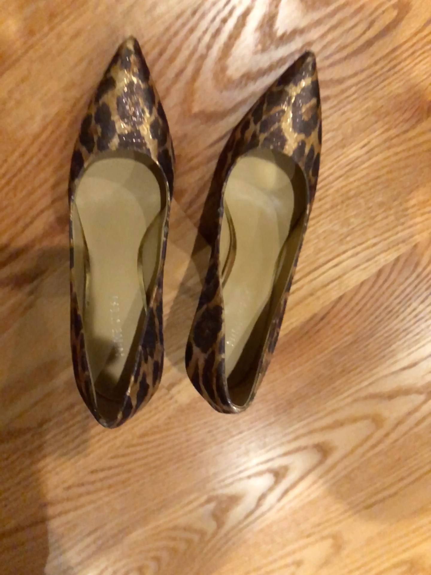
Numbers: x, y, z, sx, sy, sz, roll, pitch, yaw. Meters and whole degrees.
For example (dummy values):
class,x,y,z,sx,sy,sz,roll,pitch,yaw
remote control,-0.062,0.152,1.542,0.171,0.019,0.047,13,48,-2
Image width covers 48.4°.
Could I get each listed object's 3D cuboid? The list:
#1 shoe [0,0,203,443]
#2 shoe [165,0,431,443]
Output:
class,x,y,z,sx,sy,sz,roll,pitch,yaw
shoe,-0.059,-0.041,0.298,0.083,0.145,0.218,1,109,-6
shoe,0.036,-0.043,0.307,0.083,0.145,0.218,14,107,-10
